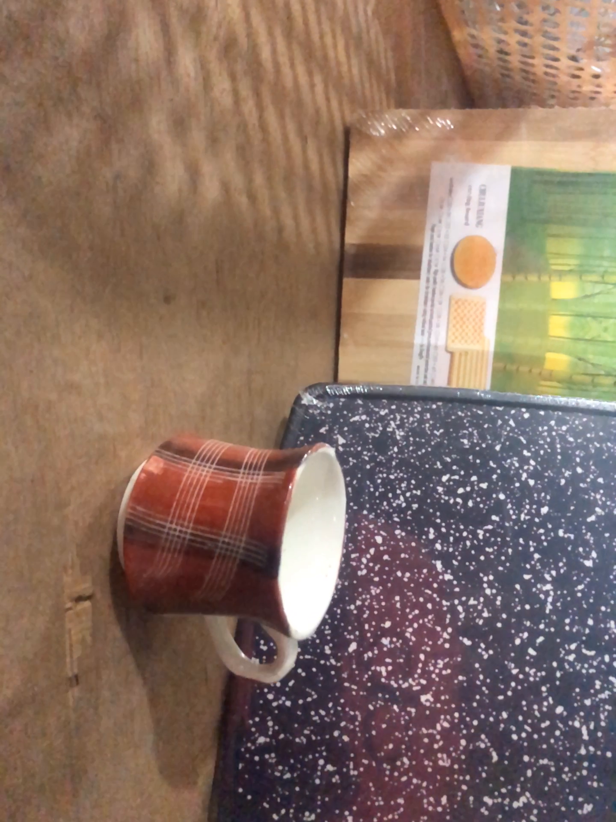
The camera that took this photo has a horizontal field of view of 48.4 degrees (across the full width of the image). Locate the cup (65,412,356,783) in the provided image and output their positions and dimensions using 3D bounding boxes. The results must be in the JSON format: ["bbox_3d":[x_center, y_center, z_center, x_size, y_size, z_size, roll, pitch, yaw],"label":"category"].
[{"bbox_3d":[-0.025,0.053,0.219,0.060,0.060,0.090,-40,128,-63],"label":"cup"}]
